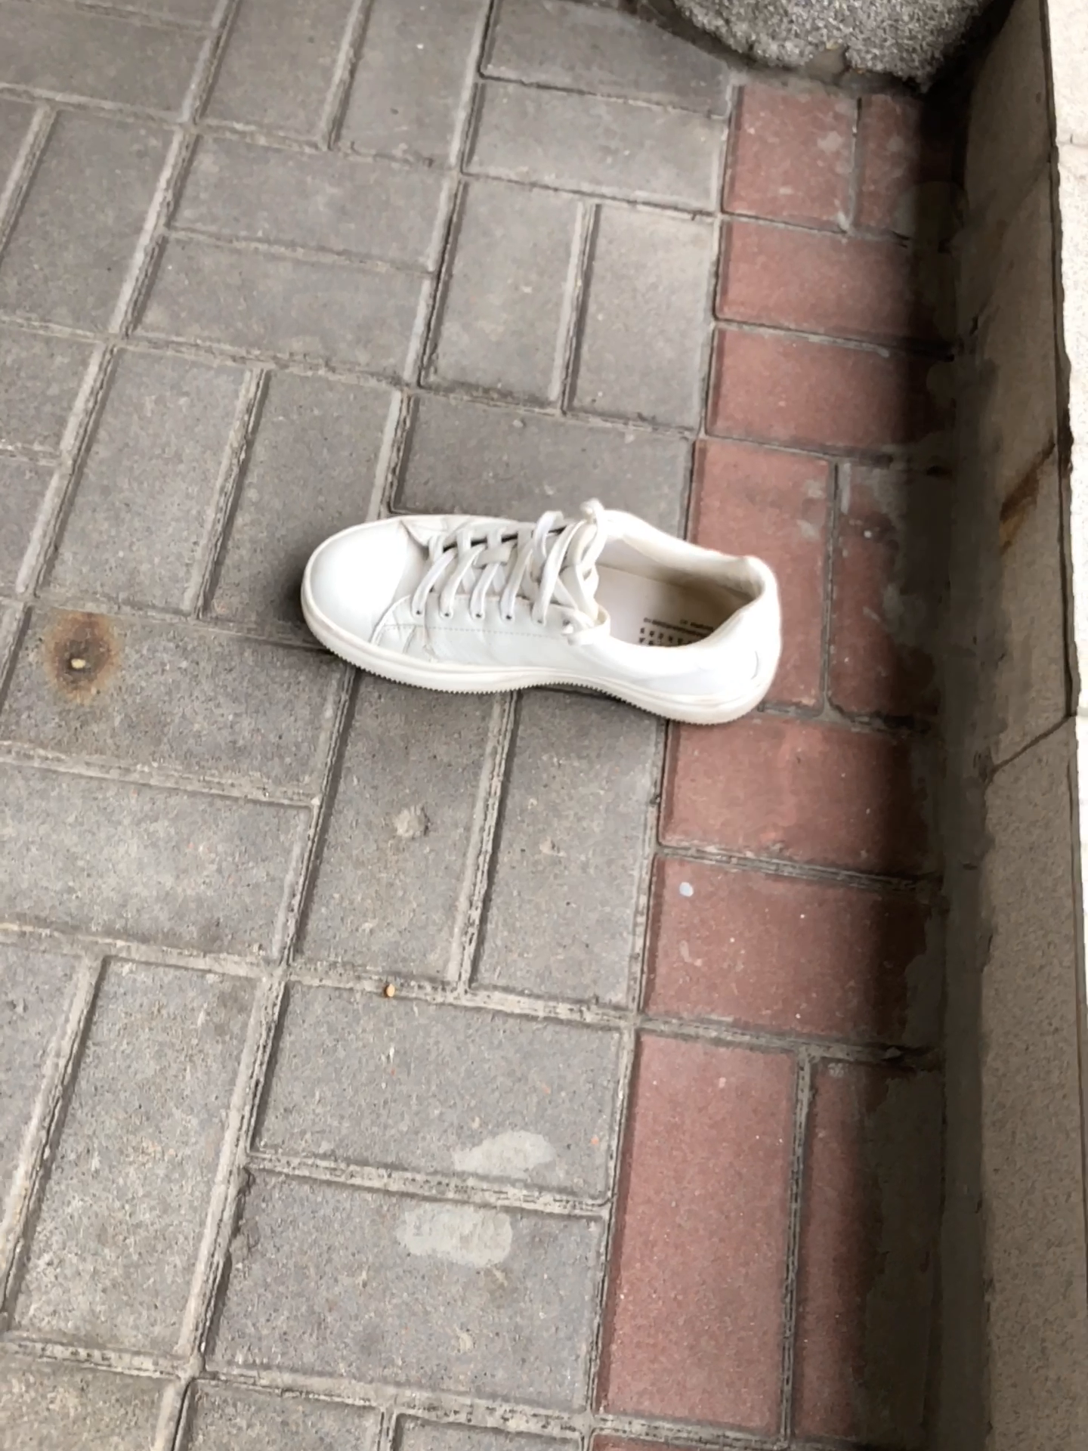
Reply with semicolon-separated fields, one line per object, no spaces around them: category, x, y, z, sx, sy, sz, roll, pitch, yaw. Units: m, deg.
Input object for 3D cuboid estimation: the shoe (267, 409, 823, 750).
shoe;0.000;-0.079;0.706;0.292;0.120;0.110;10;70;-3
